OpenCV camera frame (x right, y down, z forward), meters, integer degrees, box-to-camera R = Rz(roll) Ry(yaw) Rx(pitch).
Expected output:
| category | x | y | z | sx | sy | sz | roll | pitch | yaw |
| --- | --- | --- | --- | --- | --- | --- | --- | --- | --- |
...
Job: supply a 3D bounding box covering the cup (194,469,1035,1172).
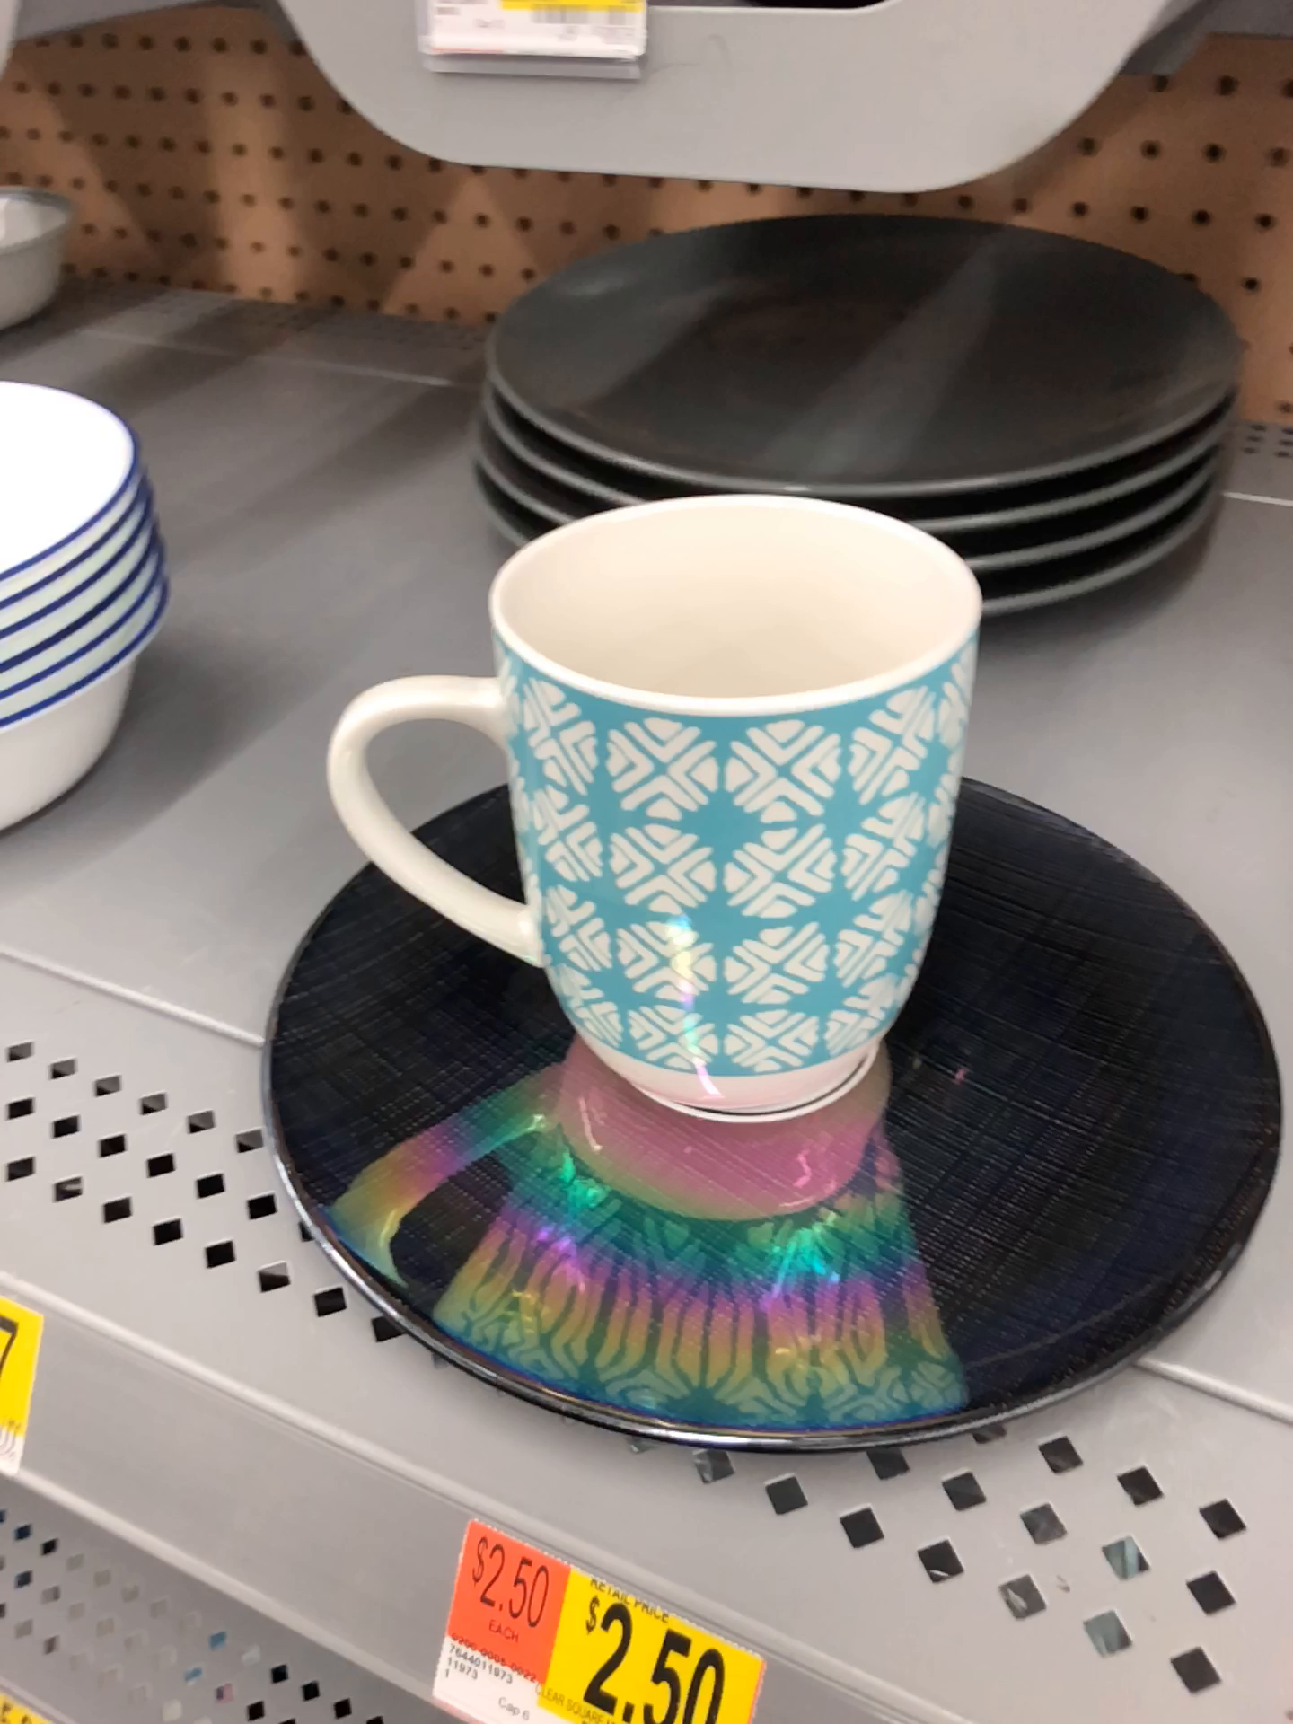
| category | x | y | z | sx | sy | sz | roll | pitch | yaw |
| --- | --- | --- | --- | --- | --- | --- | --- | --- | --- |
| cup | -0.002 | -0.010 | 0.274 | 0.122 | 0.098 | 0.090 | 1 | 37 | 4 |
